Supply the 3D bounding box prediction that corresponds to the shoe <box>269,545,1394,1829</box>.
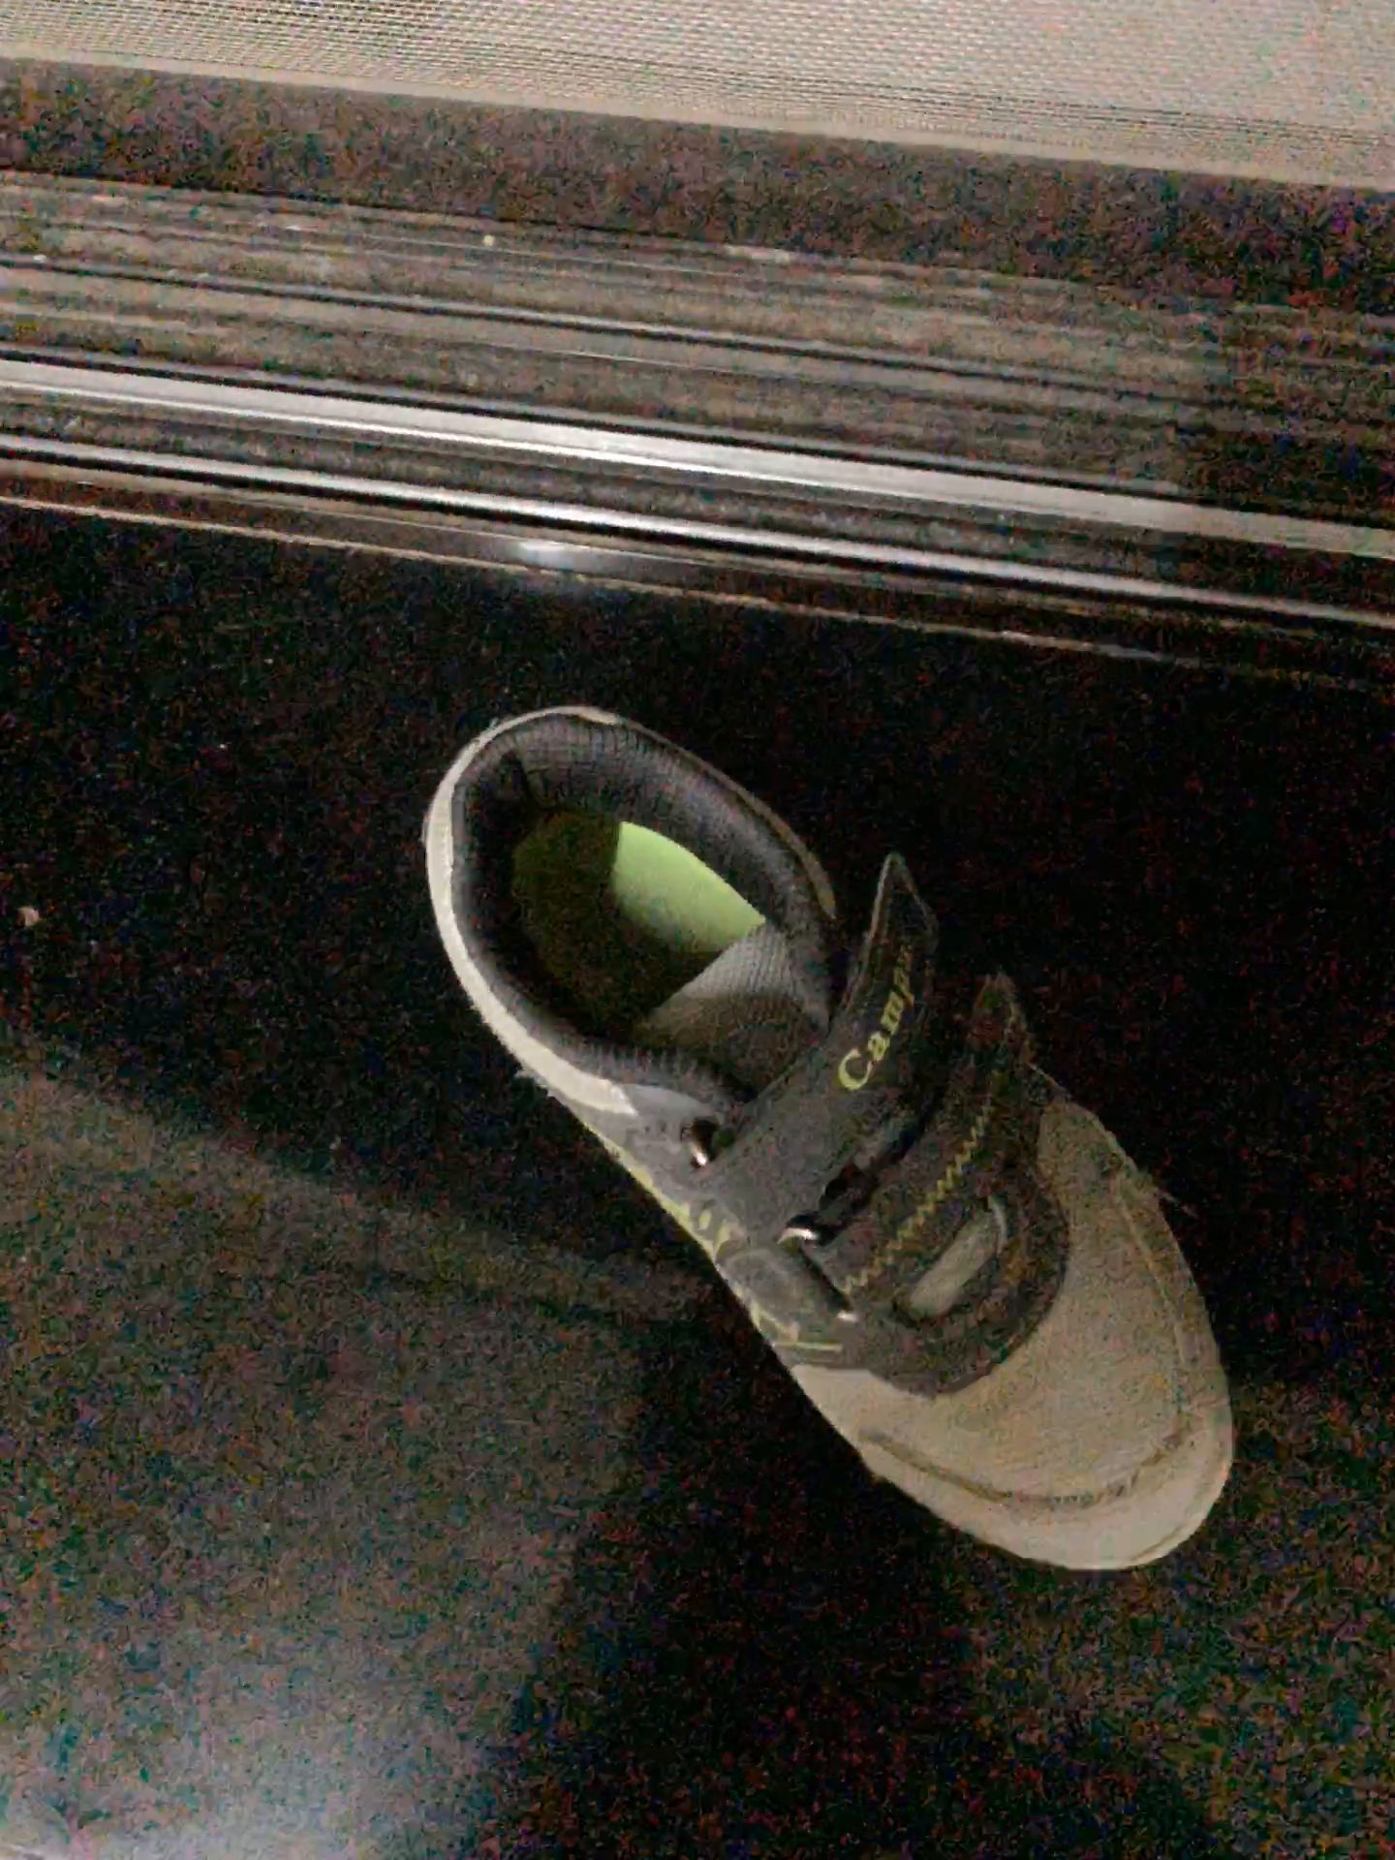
[{"bbox_3d":[0.026,0.042,0.302,0.090,0.080,0.230,-40,75,-8],"label":"shoe"}]
